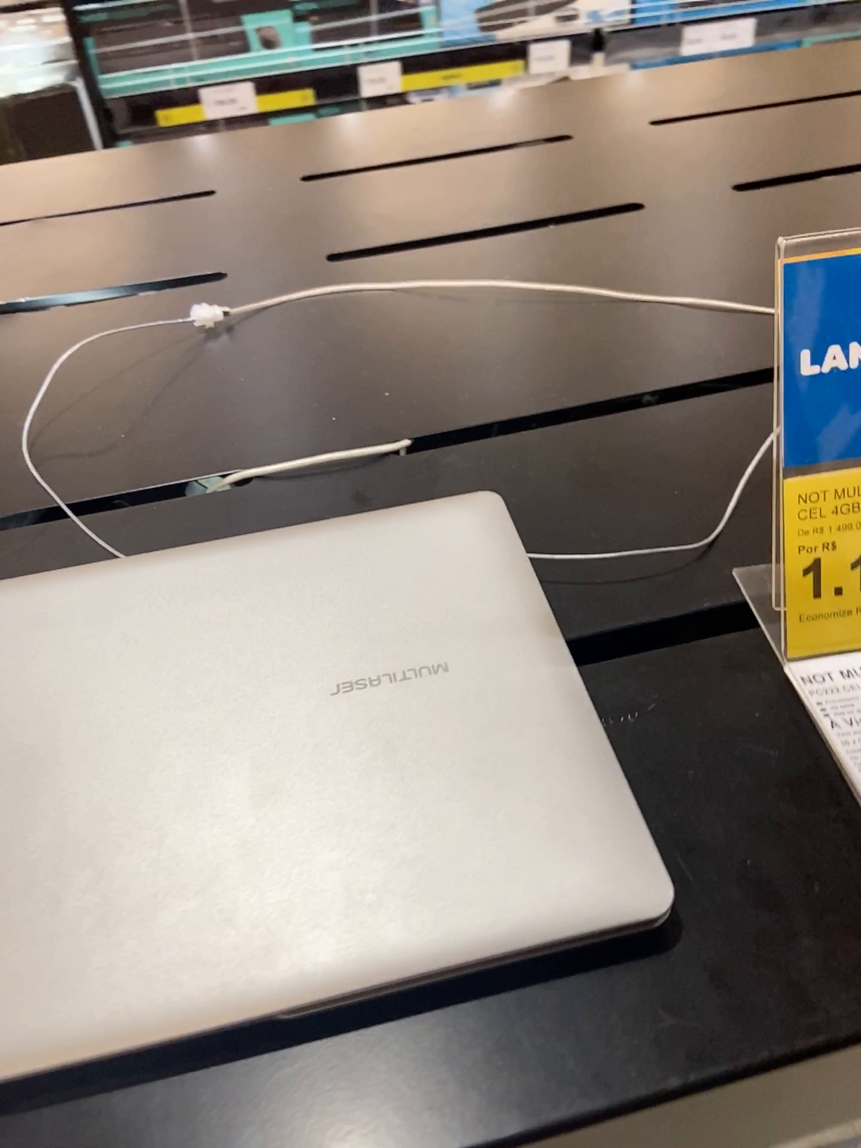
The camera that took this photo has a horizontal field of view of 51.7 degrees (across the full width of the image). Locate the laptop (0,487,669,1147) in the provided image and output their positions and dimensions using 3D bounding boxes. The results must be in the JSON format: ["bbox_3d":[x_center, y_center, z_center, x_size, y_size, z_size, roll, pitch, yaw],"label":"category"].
[{"bbox_3d":[-0.104,0.061,0.320,0.315,0.003,0.206,-11,44,-6],"label":"laptop"}]
